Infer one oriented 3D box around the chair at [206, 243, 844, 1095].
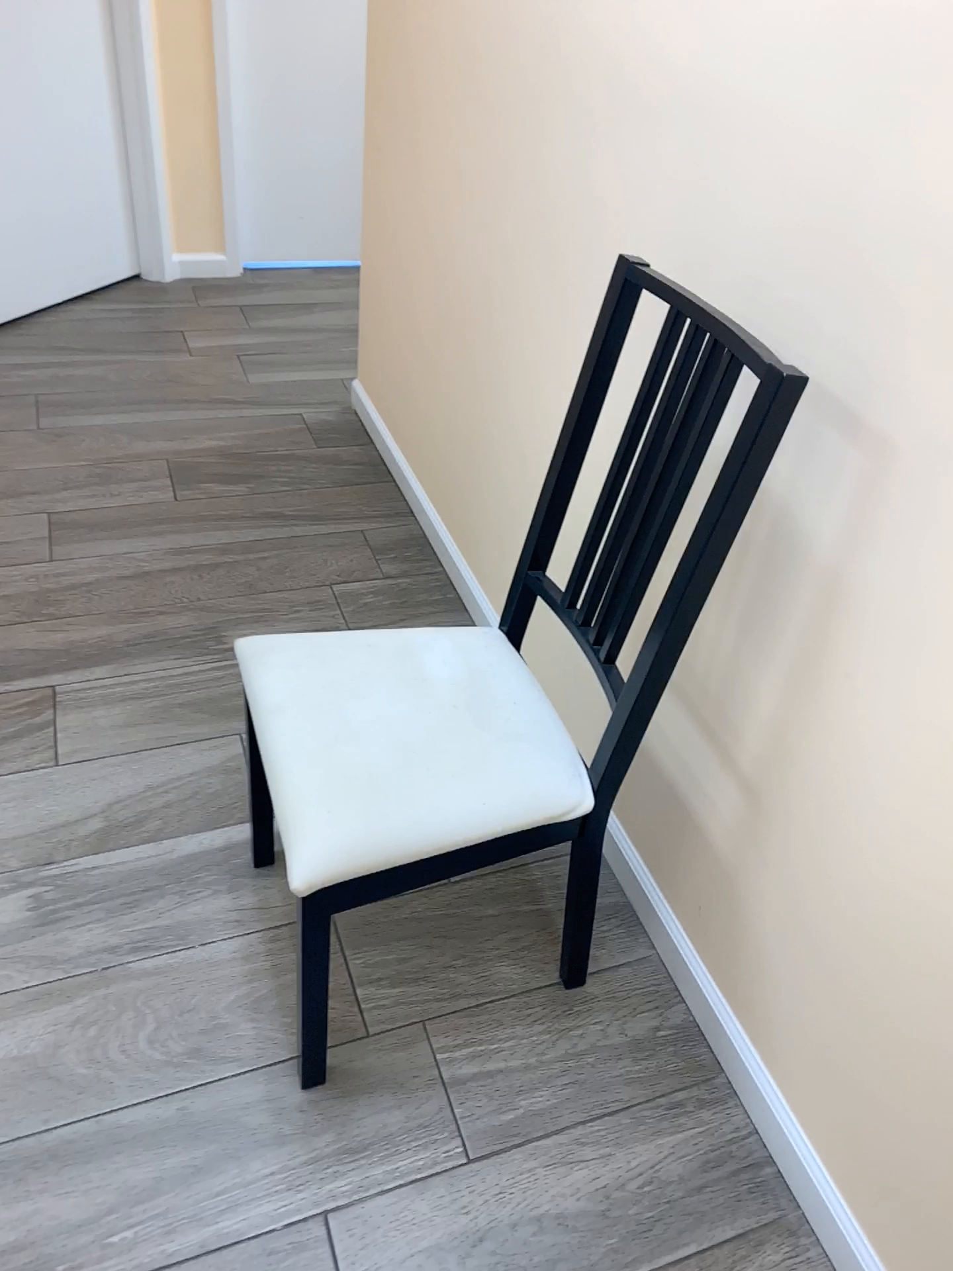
[{"bbox_3d":[-0.026,0.065,1.235,0.498,0.962,0.440,-8,40,-19],"label":"chair"}]
